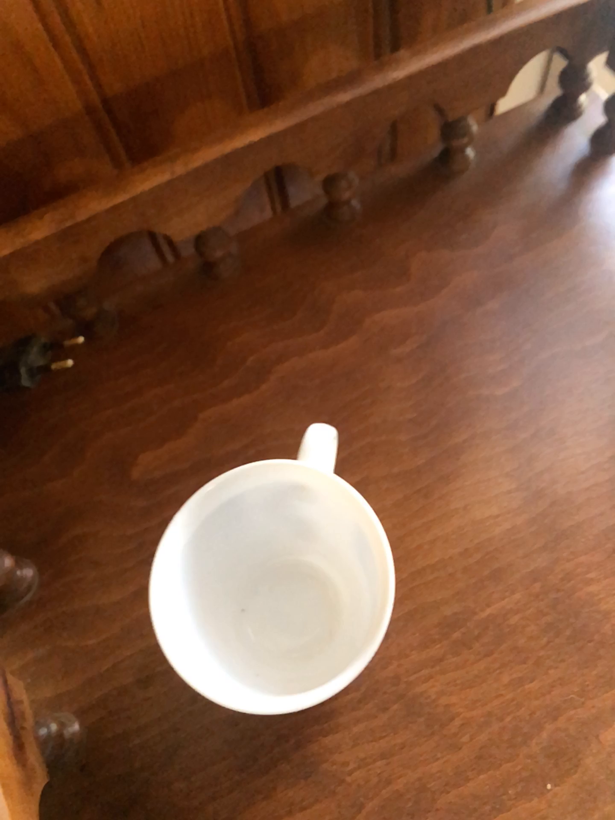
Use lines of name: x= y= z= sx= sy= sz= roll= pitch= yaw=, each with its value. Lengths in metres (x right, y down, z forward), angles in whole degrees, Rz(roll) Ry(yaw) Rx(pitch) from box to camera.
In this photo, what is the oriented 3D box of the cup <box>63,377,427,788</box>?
cup: x=-0.012 y=0.054 z=0.225 sx=0.080 sy=0.060 sz=0.100 roll=11 pitch=67 yaw=11
